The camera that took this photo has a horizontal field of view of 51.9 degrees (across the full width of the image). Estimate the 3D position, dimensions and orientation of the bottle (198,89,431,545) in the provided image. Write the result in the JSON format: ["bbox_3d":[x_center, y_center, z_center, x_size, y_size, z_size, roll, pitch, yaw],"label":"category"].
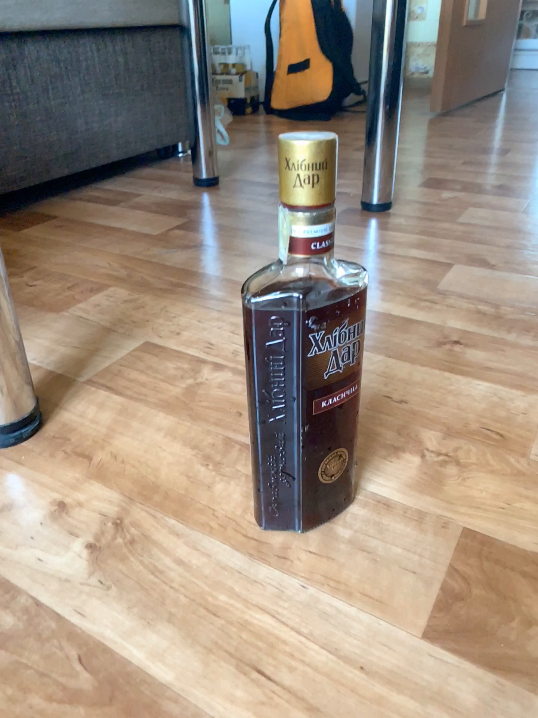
[{"bbox_3d":[0.022,-0.012,0.306,0.090,0.239,0.050,-13,33,-18],"label":"bottle"}]
